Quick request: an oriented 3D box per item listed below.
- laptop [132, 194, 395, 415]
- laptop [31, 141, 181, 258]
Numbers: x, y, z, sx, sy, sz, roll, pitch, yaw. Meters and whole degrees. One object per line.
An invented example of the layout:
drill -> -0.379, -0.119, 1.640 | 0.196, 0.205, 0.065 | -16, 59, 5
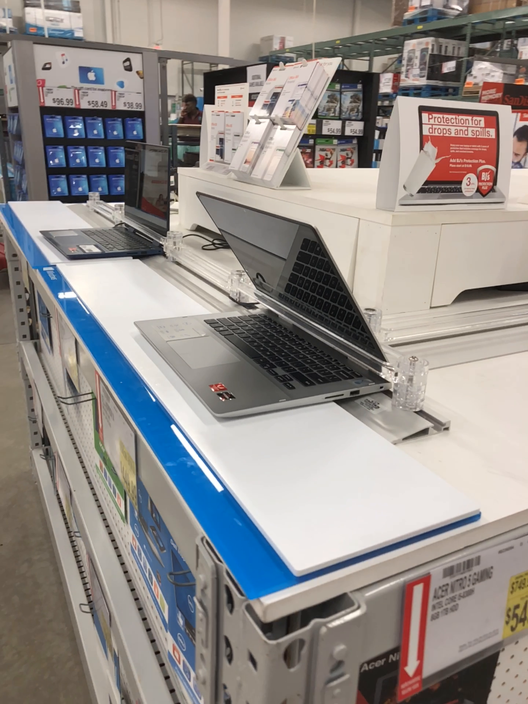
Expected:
laptop -> -0.023, -0.087, 0.725 | 0.210, 0.183, 0.309 | -7, 23, -24
laptop -> -0.431, -0.426, 1.555 | 0.284, 0.239, 0.366 | -11, 25, -27
